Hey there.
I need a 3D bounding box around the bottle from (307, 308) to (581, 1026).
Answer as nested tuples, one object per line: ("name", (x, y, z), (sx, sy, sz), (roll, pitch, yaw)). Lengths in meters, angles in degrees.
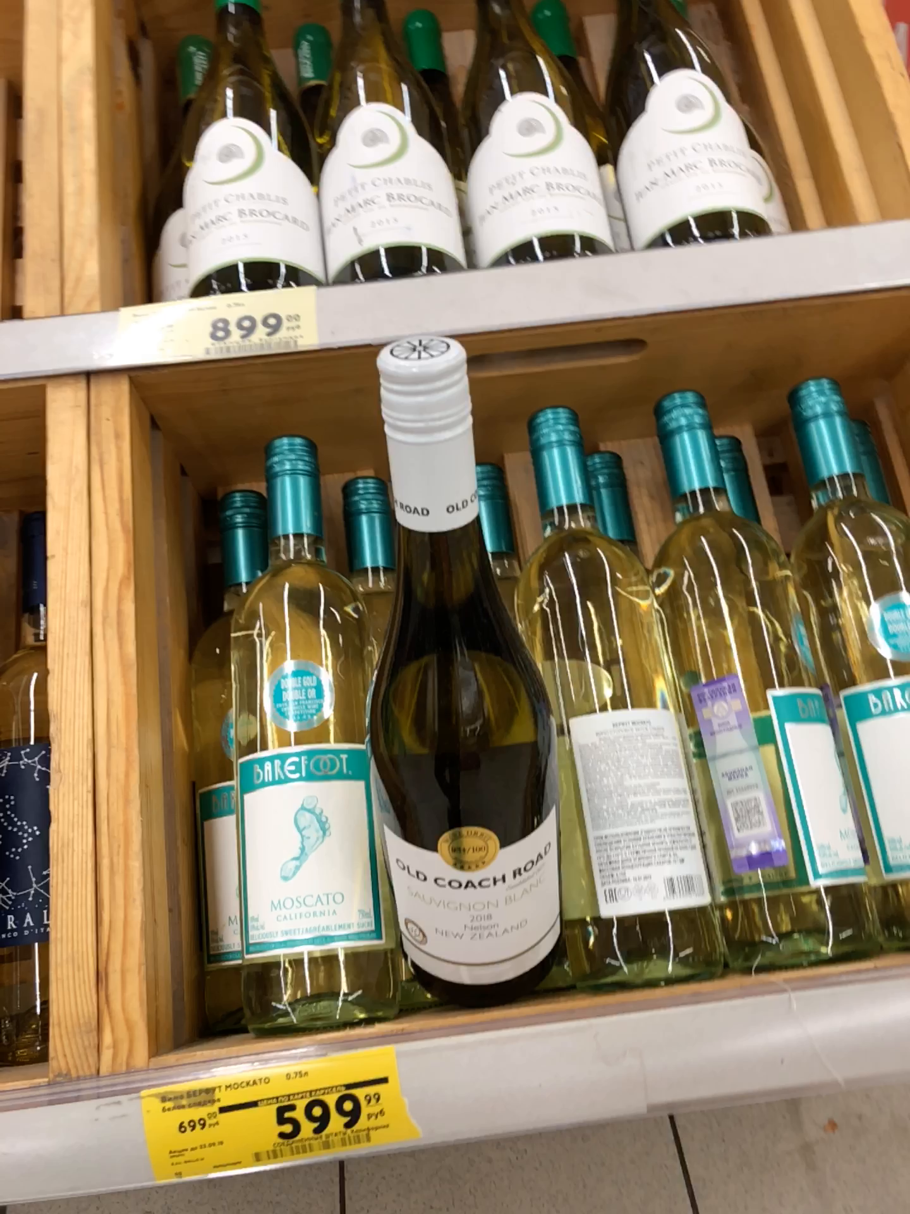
("bottle", (0.003, 0.041, 0.404), (0.077, 0.290, 0.088), (-7, 36, -2))
